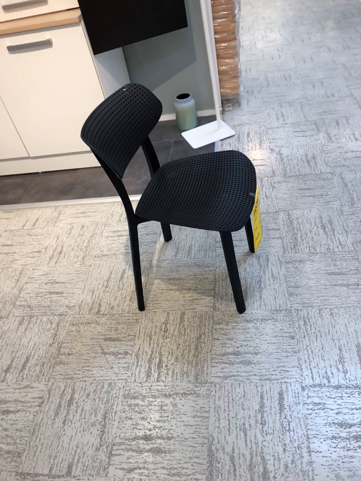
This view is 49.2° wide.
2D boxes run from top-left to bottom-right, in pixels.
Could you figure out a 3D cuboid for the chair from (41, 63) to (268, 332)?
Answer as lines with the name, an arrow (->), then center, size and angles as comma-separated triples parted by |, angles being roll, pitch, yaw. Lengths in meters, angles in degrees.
chair -> 0.009, -0.141, 1.362 | 0.520, 0.686, 0.543 | 2, 43, 16
